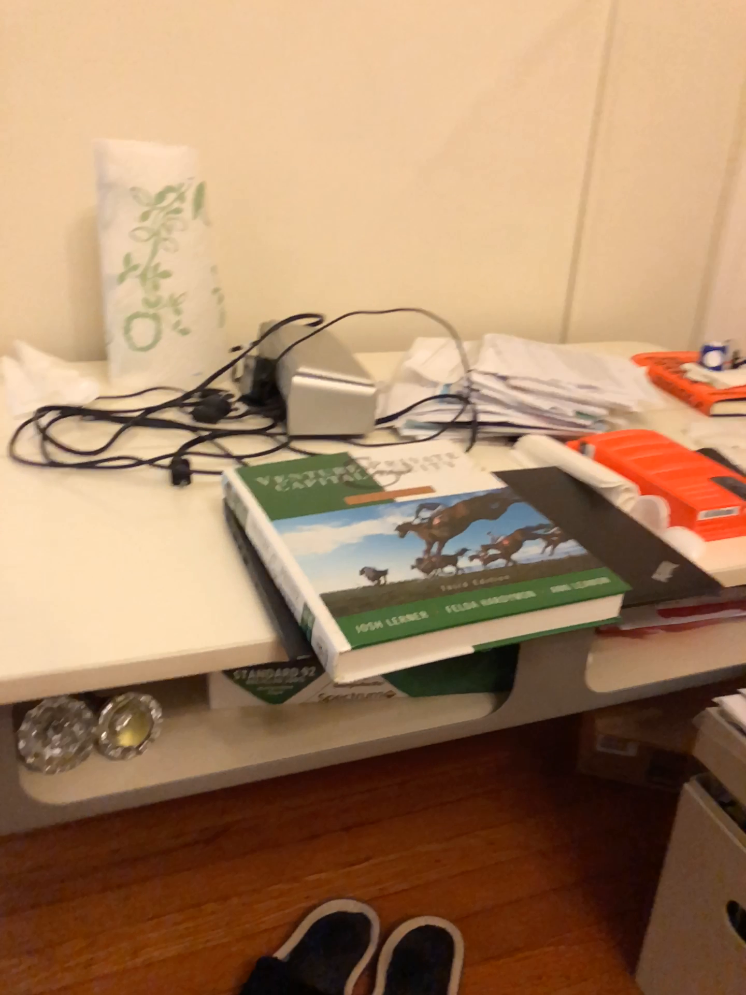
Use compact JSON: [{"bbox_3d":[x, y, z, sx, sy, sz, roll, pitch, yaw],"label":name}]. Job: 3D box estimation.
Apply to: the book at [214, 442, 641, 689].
[{"bbox_3d":[0.022,0.029,0.620,0.220,0.030,0.271,-7,27,-23],"label":"book"}]
